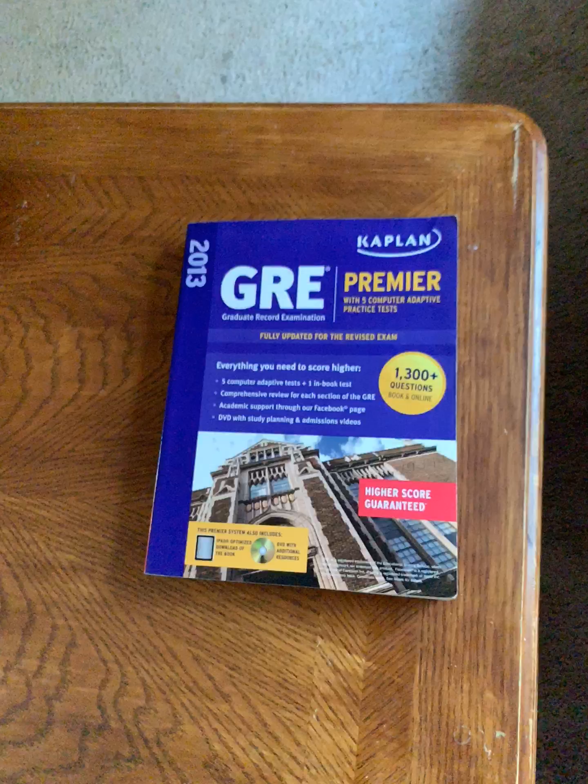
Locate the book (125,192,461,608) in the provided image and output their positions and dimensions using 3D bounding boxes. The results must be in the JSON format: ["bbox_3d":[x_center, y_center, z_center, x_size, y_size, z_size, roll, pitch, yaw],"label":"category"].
[{"bbox_3d":[0.008,-0.003,0.457,0.220,0.060,0.290,2,76,9],"label":"book"}]
